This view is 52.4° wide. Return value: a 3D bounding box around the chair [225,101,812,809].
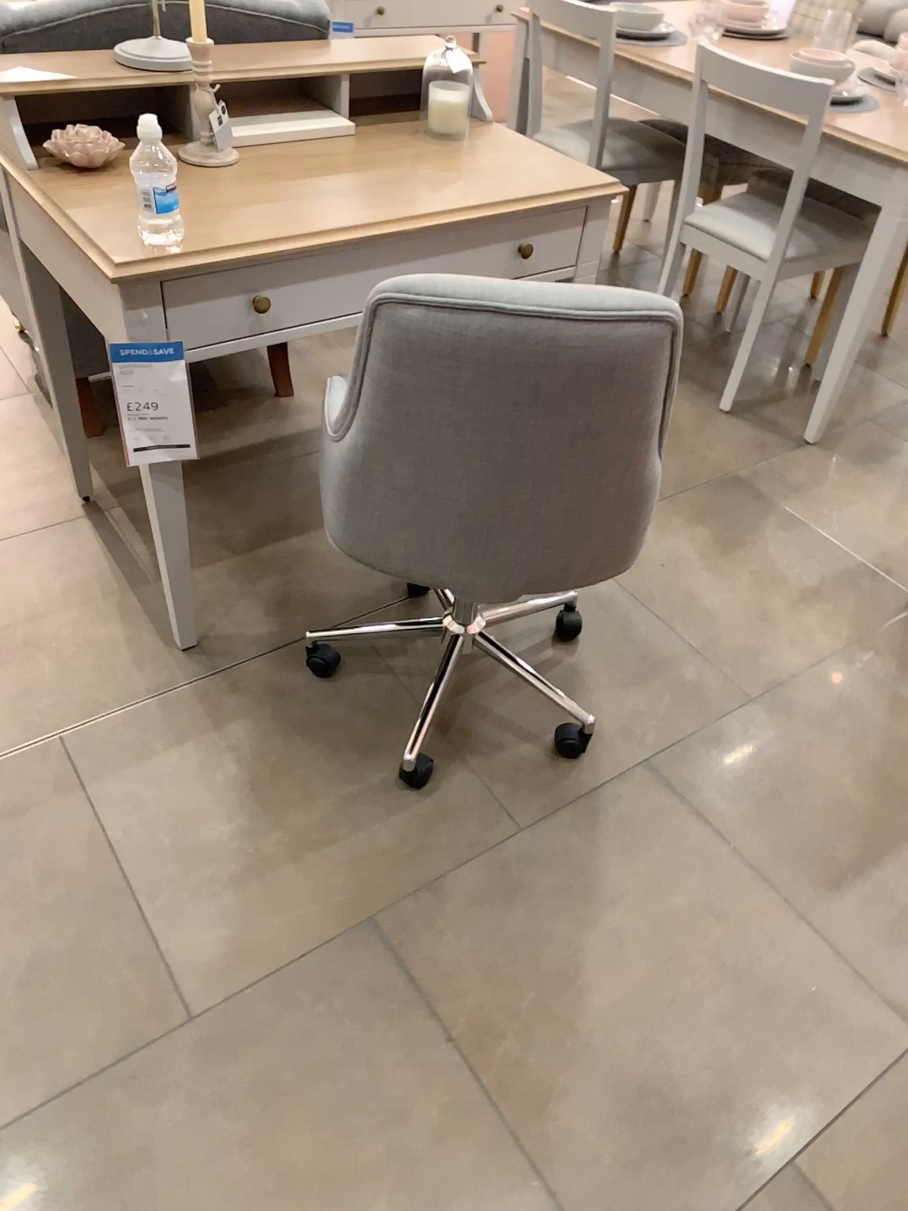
[{"bbox_3d":[0.039,-0.220,1.507,0.624,0.890,0.642,4,41,-3],"label":"chair"}]
